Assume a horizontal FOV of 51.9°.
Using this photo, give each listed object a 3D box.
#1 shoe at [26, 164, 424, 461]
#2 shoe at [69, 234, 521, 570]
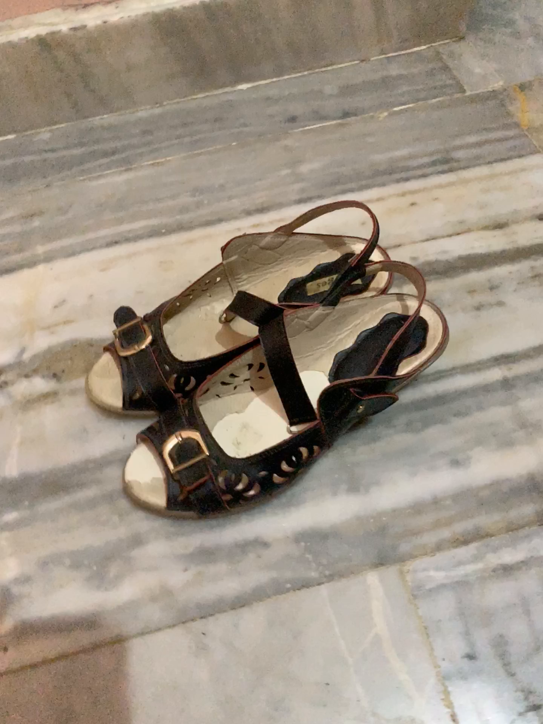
[{"bbox_3d":[-0.030,-0.041,0.430,0.260,0.100,0.100,-24,58,-11],"label":"shoe"},{"bbox_3d":[0.017,0.025,0.384,0.260,0.100,0.100,-24,58,-11],"label":"shoe"}]
